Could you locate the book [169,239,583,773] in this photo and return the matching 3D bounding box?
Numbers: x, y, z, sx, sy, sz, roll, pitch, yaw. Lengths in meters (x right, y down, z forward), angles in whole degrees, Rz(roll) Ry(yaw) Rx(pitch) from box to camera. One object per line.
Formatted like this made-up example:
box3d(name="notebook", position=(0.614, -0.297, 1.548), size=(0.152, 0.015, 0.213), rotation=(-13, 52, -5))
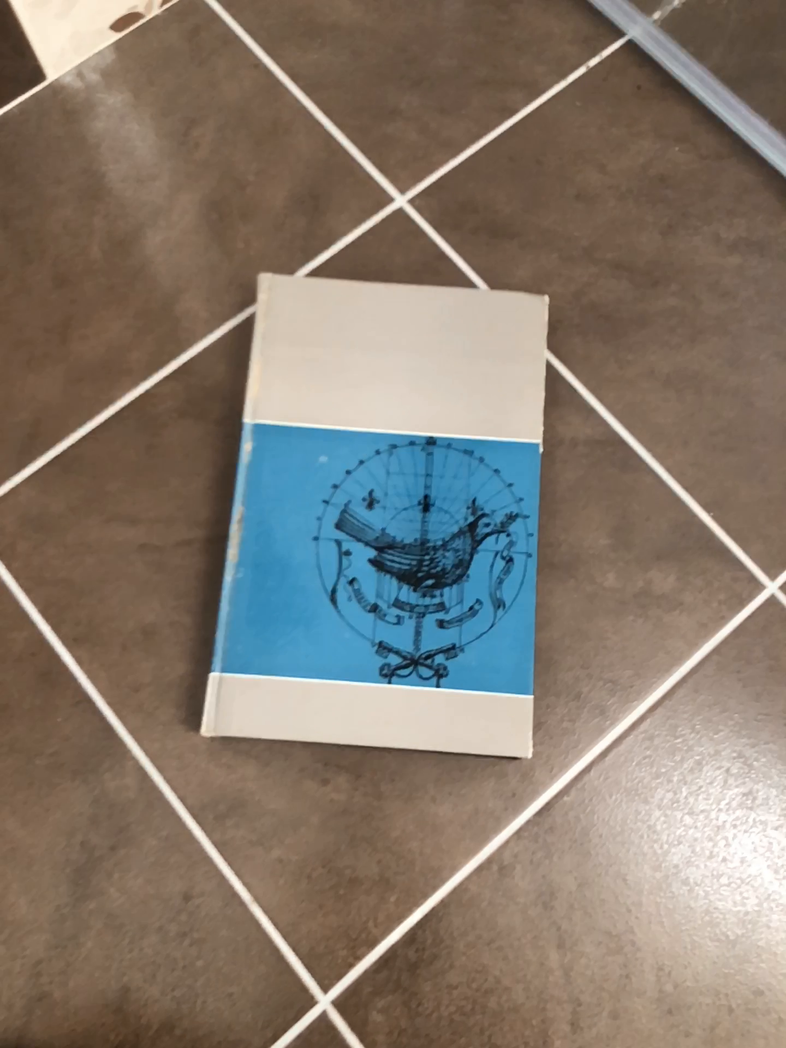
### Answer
box3d(name="book", position=(0.000, -0.018, 0.517), size=(0.210, 0.040, 0.300), rotation=(5, 75, 1))
